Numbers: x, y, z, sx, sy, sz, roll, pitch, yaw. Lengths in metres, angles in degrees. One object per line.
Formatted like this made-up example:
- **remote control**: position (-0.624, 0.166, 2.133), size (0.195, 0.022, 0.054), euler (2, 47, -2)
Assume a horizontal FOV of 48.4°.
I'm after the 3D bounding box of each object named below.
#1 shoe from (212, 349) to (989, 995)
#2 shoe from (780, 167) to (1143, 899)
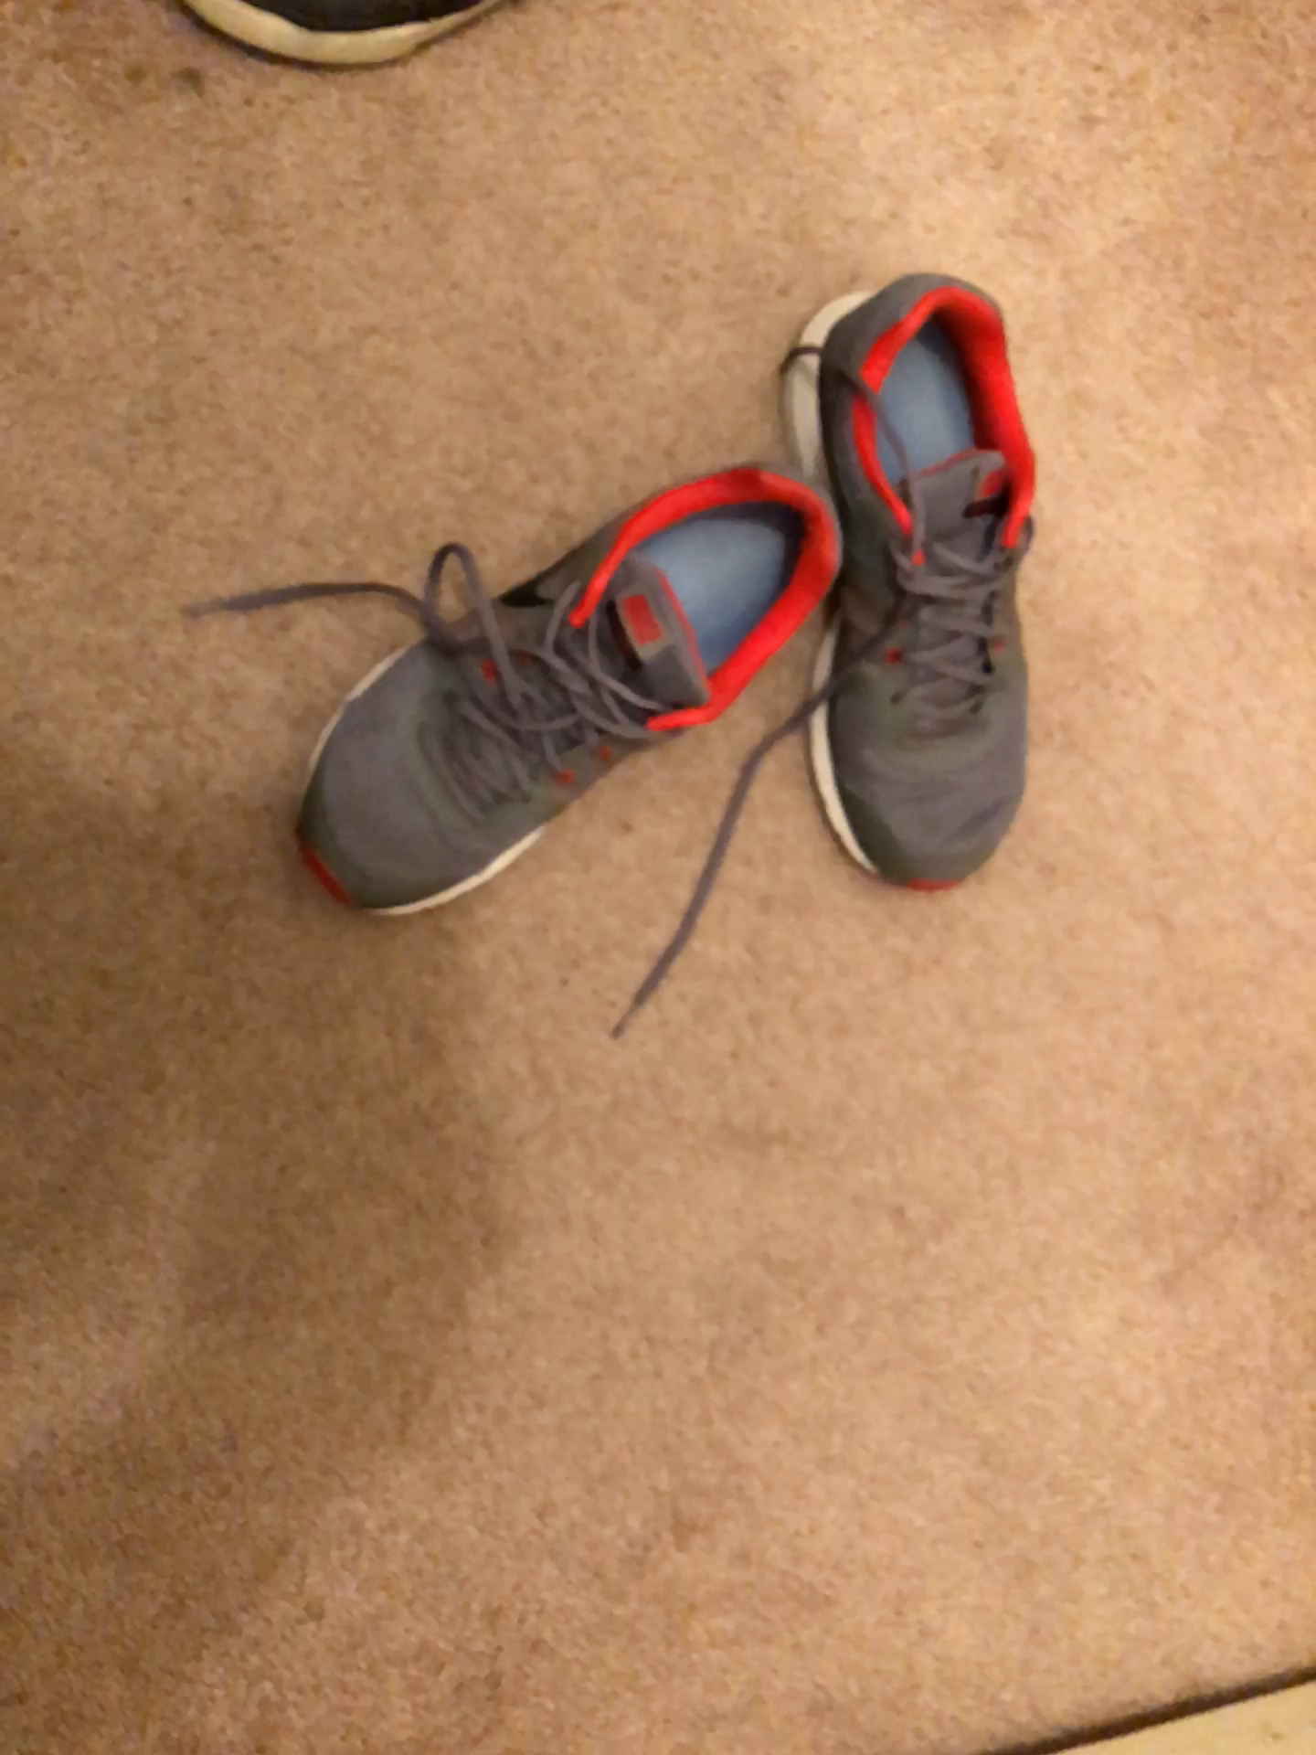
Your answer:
- **shoe**: position (-0.026, -0.086, 0.636), size (0.297, 0.120, 0.113), euler (-34, 98, -9)
- **shoe**: position (0.133, -0.144, 0.667), size (0.113, 0.120, 0.297), euler (-3, 92, -12)
